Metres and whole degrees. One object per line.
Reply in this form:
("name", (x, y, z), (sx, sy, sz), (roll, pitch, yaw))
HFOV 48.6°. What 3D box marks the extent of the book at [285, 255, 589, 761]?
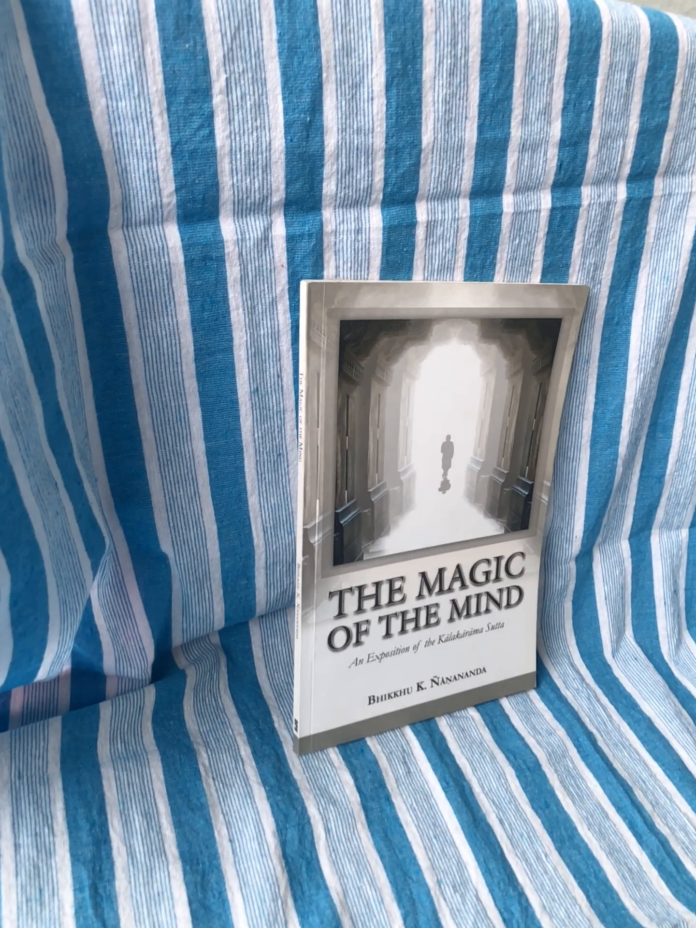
("book", (0.042, 0.019, 0.359), (0.151, 0.219, 0.010), (-6, 15, -27))
